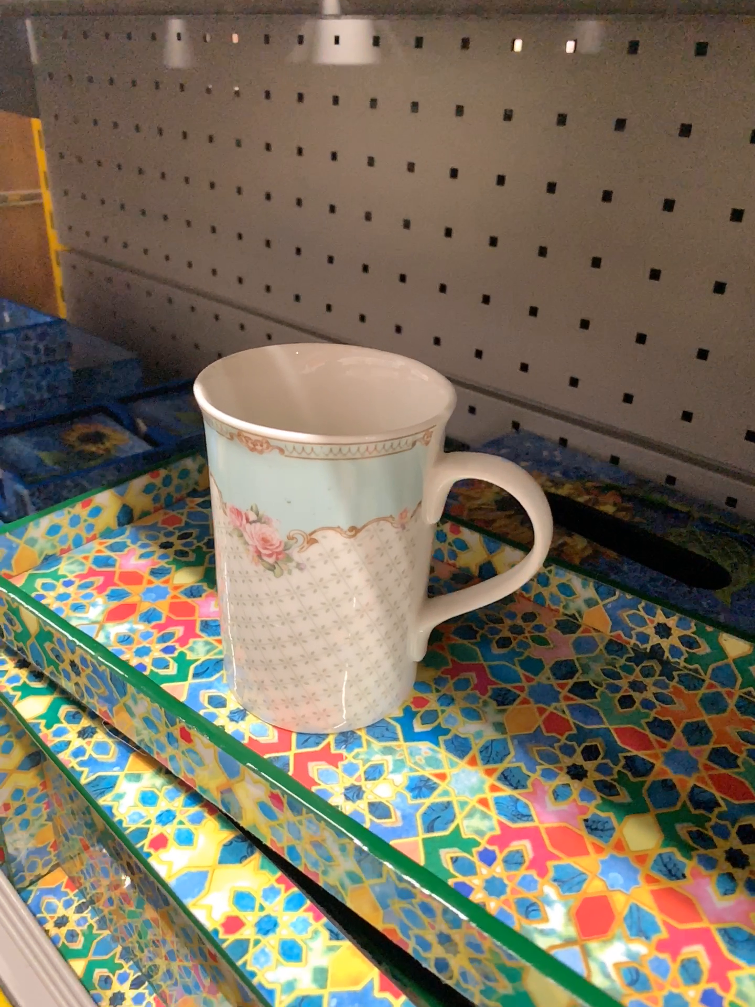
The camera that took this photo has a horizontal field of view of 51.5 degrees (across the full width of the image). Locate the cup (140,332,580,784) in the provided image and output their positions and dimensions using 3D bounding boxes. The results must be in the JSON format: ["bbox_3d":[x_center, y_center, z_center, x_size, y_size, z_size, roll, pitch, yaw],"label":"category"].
[{"bbox_3d":[-0.001,0.011,0.249,0.110,0.100,0.080,9,29,11],"label":"cup"}]
